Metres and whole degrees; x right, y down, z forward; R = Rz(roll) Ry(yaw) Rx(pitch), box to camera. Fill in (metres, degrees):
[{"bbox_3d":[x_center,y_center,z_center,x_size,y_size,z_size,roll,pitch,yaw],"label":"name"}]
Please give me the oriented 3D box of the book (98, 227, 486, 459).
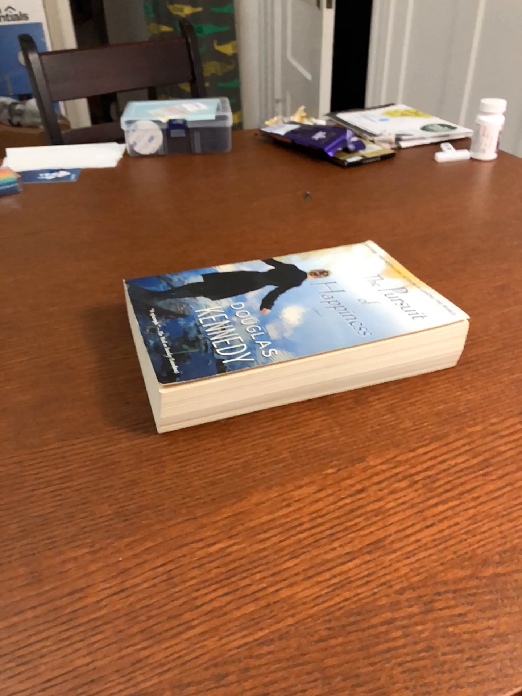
[{"bbox_3d":[0.012,-0.020,0.436,0.240,0.050,0.161,-12,37,-15],"label":"book"}]
